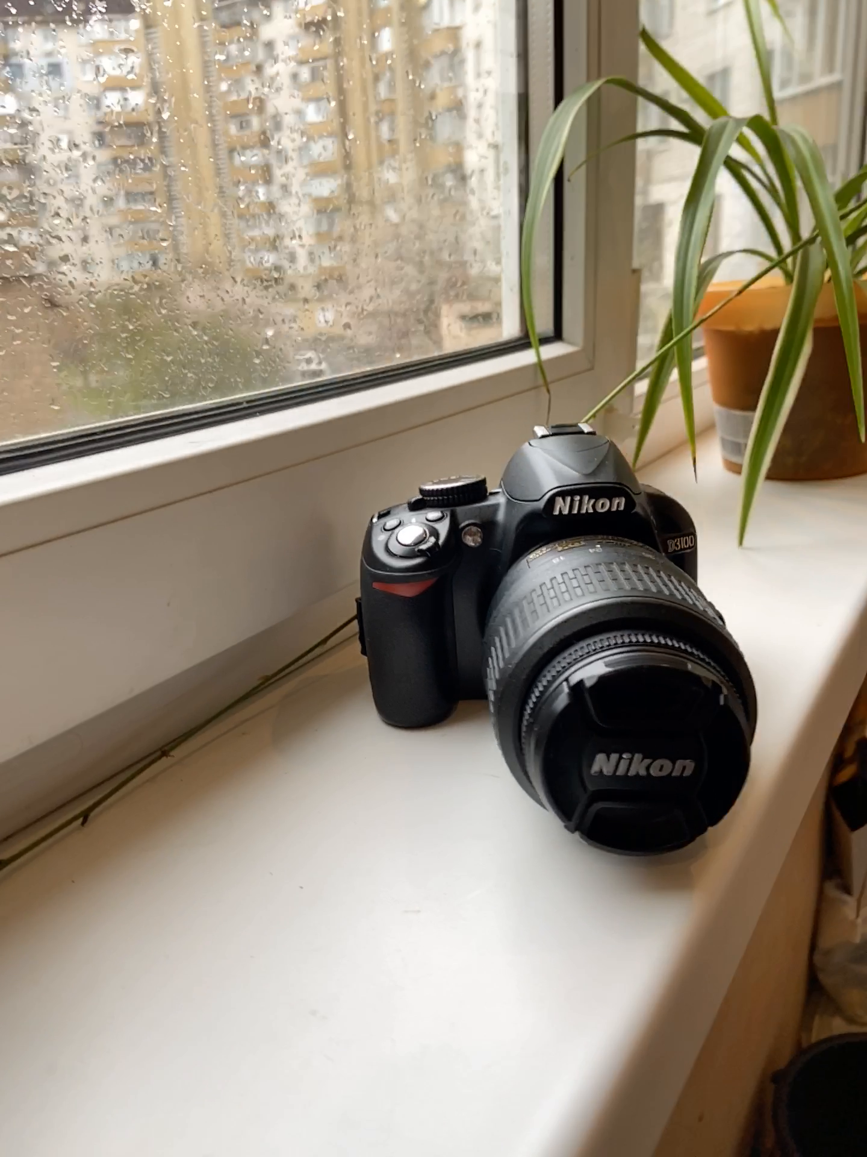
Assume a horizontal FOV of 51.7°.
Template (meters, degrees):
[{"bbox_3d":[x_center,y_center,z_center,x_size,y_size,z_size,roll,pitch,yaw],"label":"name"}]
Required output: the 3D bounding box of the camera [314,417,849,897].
[{"bbox_3d":[0.036,0.010,0.293,0.121,0.092,0.159,-3,20,1],"label":"camera"}]
